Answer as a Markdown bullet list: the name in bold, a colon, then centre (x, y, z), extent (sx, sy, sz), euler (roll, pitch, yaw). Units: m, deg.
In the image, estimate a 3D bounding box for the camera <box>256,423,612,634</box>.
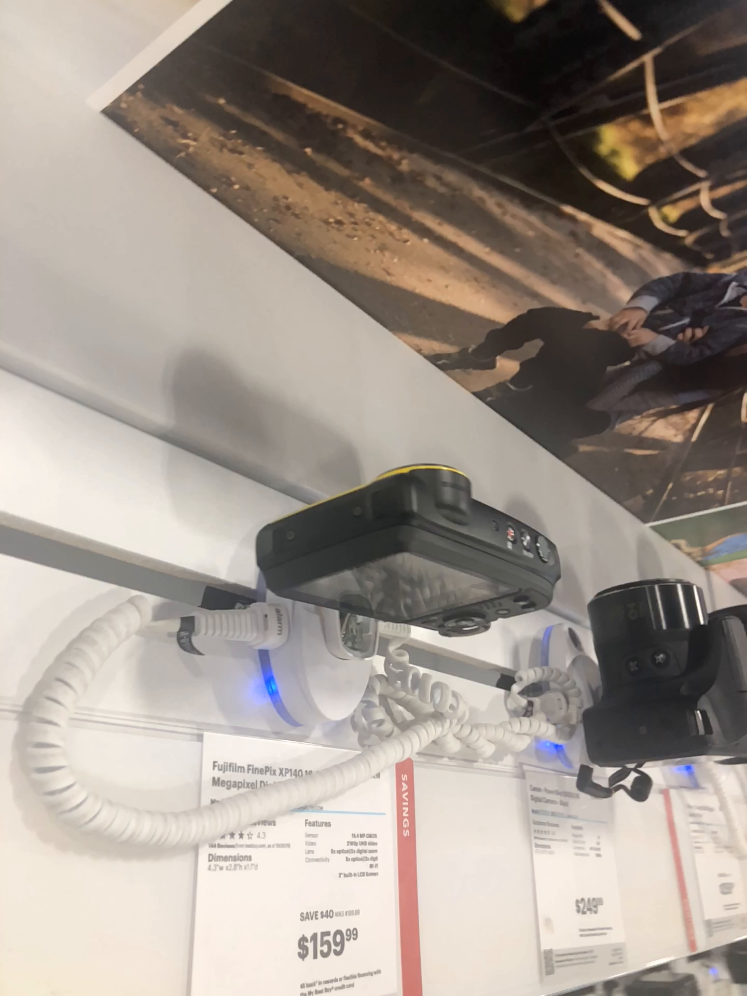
- **camera**: centre (0.024, 0.017, 0.284), extent (0.111, 0.069, 0.030), euler (24, 55, -48)
